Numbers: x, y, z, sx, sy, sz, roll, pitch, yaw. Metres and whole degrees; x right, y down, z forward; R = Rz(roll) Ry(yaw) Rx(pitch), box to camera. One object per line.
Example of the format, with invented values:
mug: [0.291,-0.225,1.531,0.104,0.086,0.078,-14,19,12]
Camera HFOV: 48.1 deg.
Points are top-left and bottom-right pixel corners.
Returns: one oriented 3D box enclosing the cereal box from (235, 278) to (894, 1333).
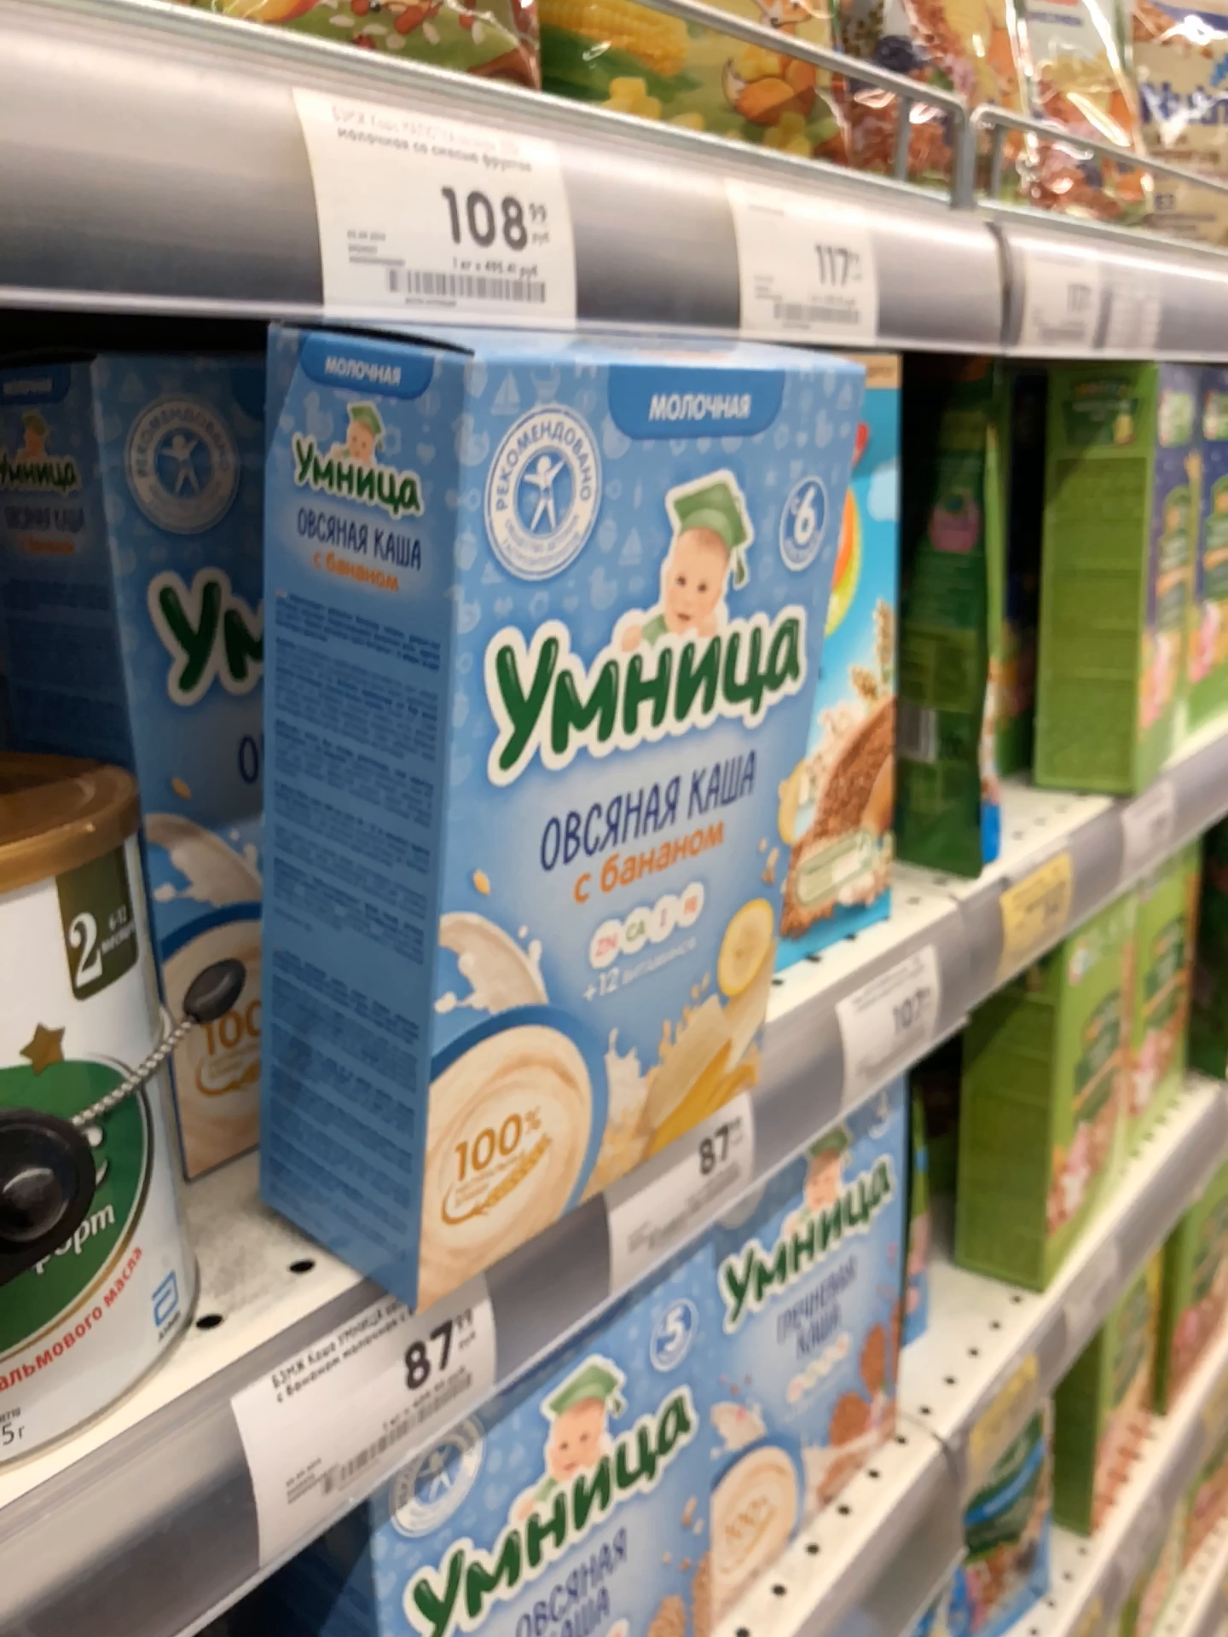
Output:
cereal box: [-0.009,-0.013,0.334,0.060,0.209,0.150,19,25,34]
